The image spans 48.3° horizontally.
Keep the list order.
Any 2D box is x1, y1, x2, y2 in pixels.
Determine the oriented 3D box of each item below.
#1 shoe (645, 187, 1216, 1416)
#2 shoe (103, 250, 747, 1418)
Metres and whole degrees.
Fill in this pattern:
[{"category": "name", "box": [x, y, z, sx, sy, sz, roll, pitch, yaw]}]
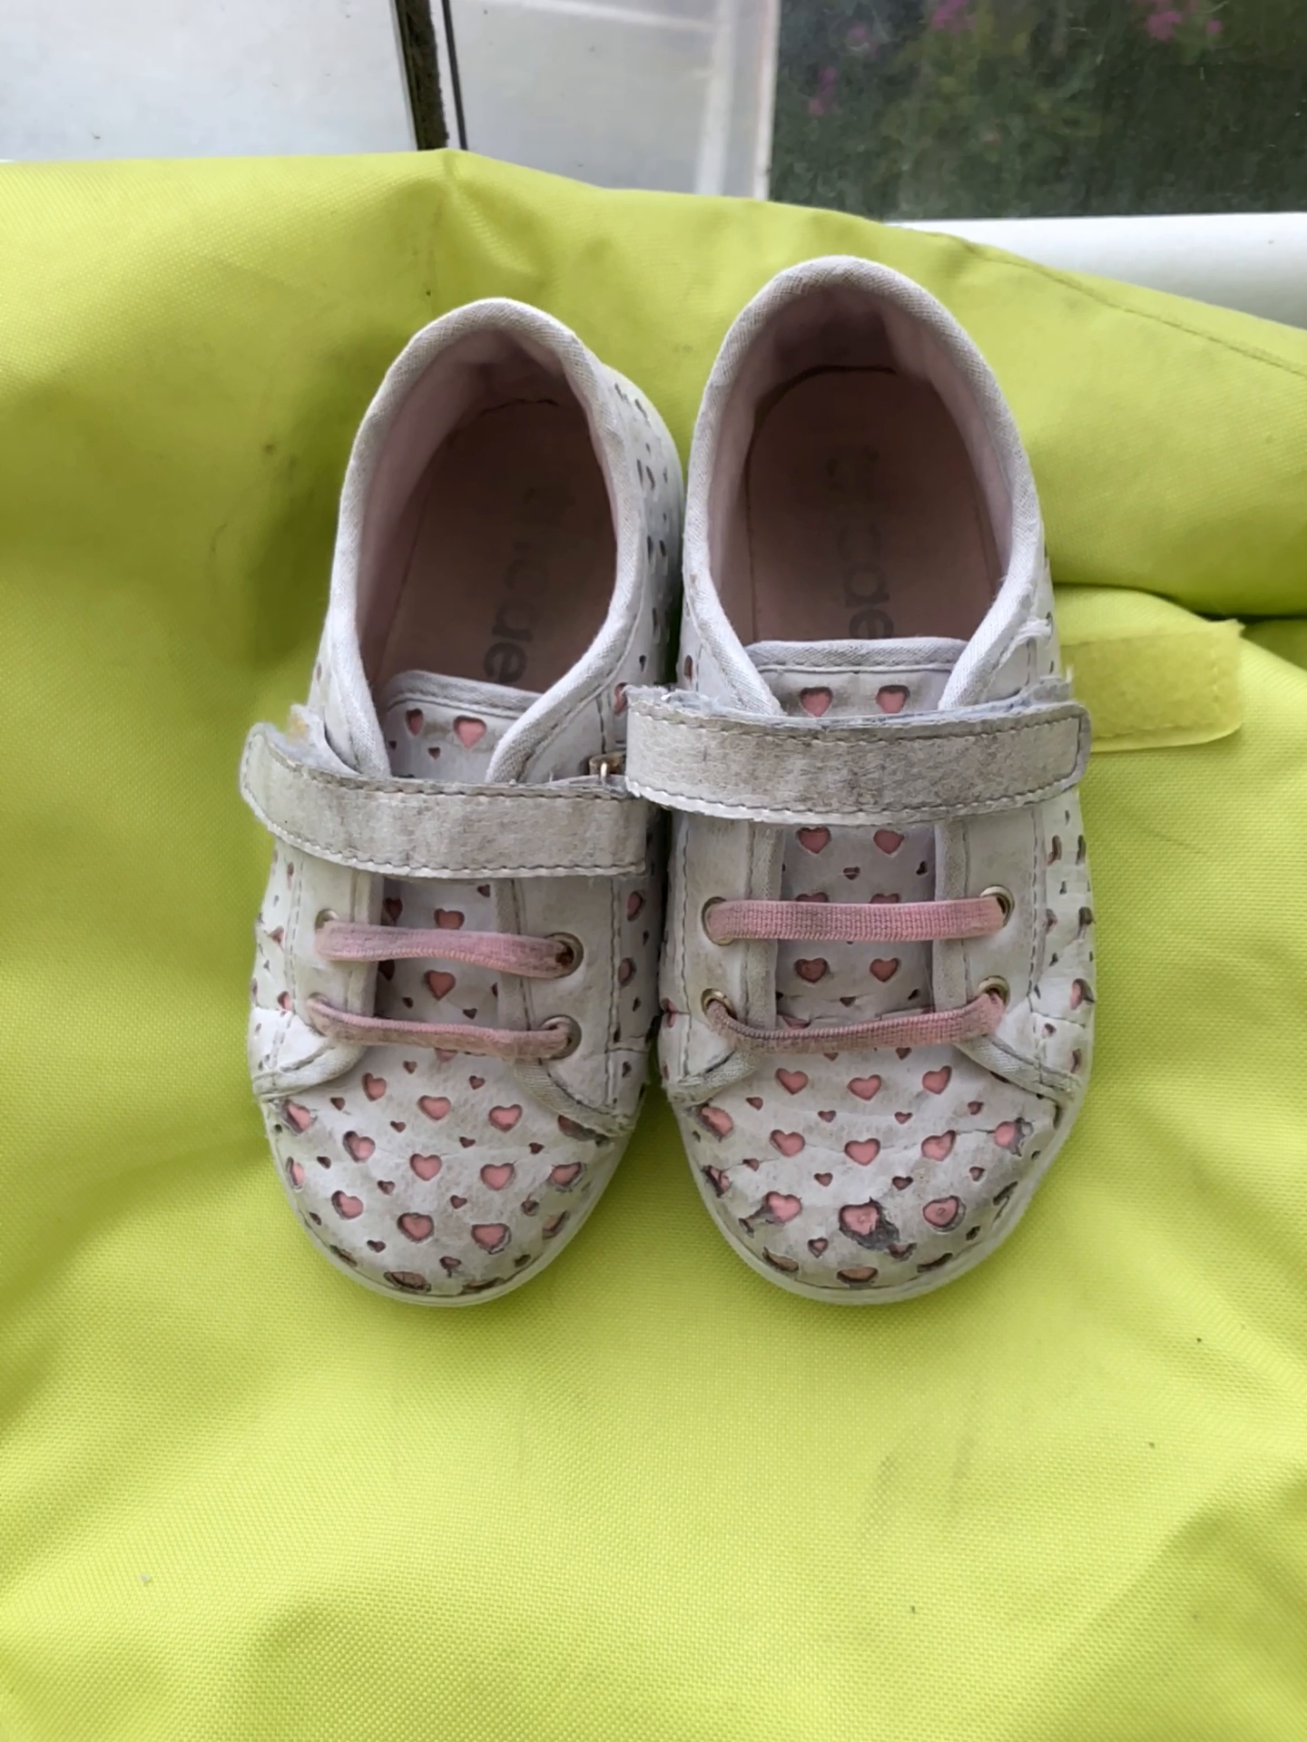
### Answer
[{"category": "shoe", "box": [0.040, -0.011, 0.239, 0.080, 0.060, 0.176, 0, 88, 1]}, {"category": "shoe", "box": [-0.036, -0.007, 0.260, 0.080, 0.060, 0.175, 8, 93, 6]}]
